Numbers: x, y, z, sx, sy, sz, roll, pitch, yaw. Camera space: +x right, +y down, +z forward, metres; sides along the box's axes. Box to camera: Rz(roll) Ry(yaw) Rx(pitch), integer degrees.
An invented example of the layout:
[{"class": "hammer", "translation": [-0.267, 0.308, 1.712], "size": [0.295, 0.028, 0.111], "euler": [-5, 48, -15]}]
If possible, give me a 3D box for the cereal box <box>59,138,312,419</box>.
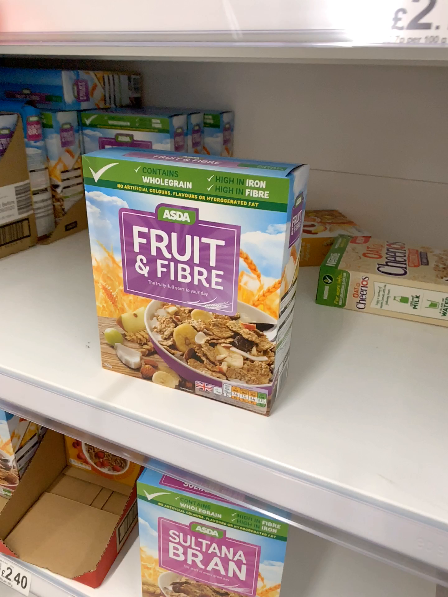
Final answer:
[{"class": "cereal box", "translation": [-0.044, -0.030, 0.506], "size": [0.240, 0.258, 0.081], "euler": [11, 25, 21]}]
